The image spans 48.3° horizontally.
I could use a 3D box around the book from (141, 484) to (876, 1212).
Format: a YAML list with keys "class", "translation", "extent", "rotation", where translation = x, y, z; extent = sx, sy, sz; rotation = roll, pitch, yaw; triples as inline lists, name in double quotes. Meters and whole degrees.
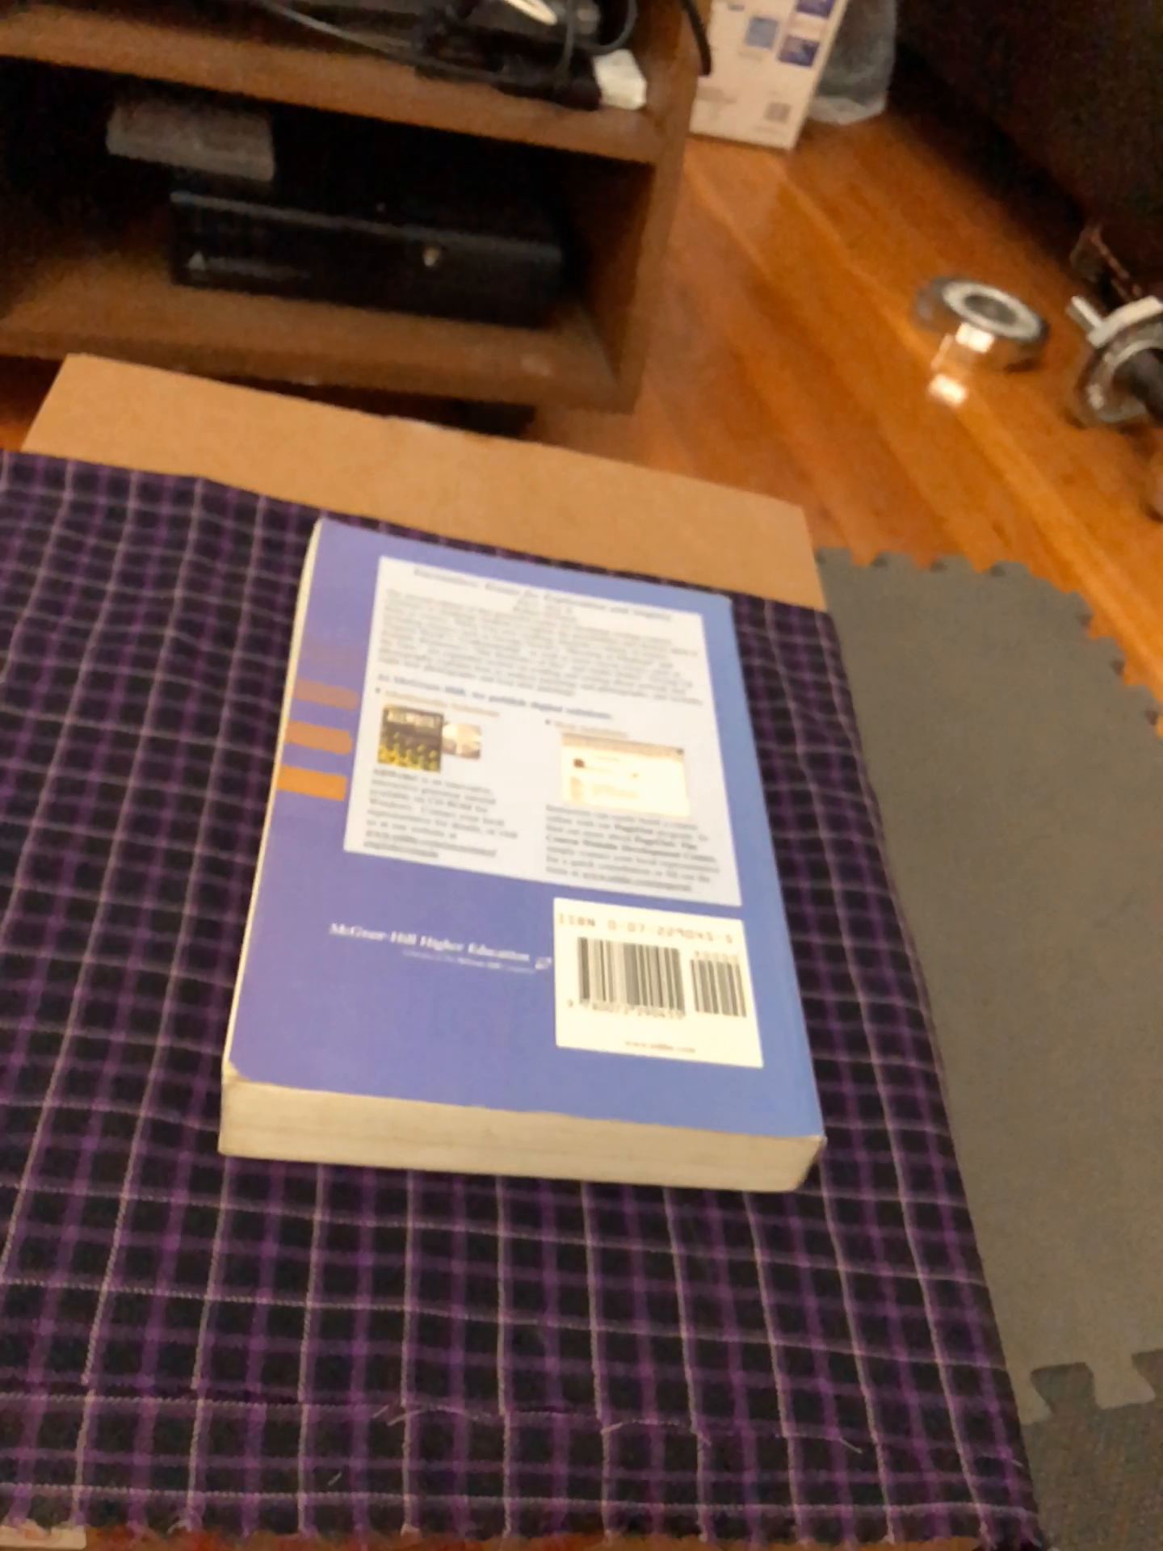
- class: "book"
  translation: [-0.024, 0.009, 0.409]
  extent: [0.180, 0.040, 0.241]
  rotation: [7, 45, -13]
